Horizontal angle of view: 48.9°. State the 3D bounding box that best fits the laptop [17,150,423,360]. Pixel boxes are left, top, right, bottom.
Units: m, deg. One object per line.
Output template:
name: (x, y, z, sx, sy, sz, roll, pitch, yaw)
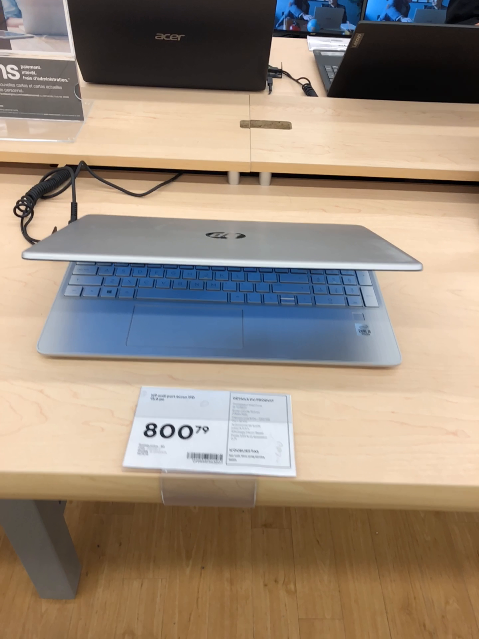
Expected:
laptop: (-0.014, -0.076, 0.551, 0.340, 0.086, 0.225, 2, 44, -2)
